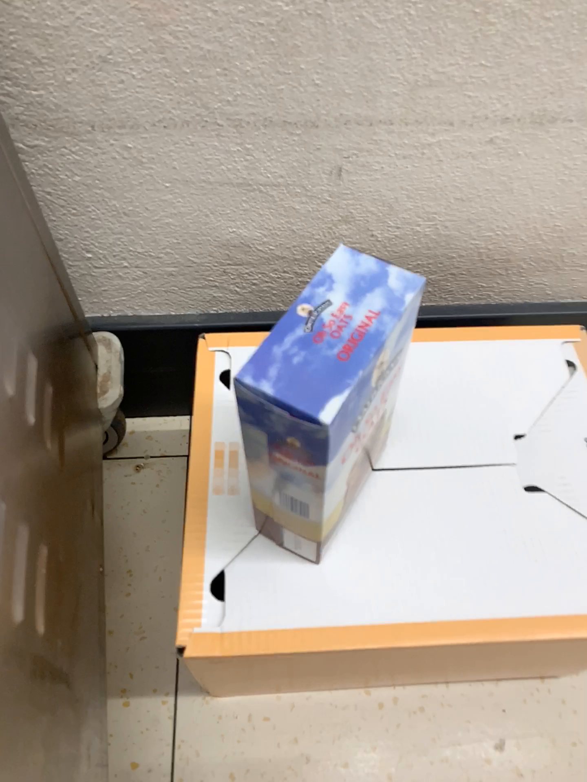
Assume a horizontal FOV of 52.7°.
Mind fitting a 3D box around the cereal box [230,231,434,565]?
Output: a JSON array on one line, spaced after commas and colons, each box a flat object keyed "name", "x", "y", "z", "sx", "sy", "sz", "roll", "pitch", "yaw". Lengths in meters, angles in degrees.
[{"name": "cereal box", "x": 0.026, "y": 0.019, "z": 0.425, "sx": 0.060, "sy": 0.218, "sz": 0.131, "roll": 26, "pitch": 60, "yaw": 17}]
